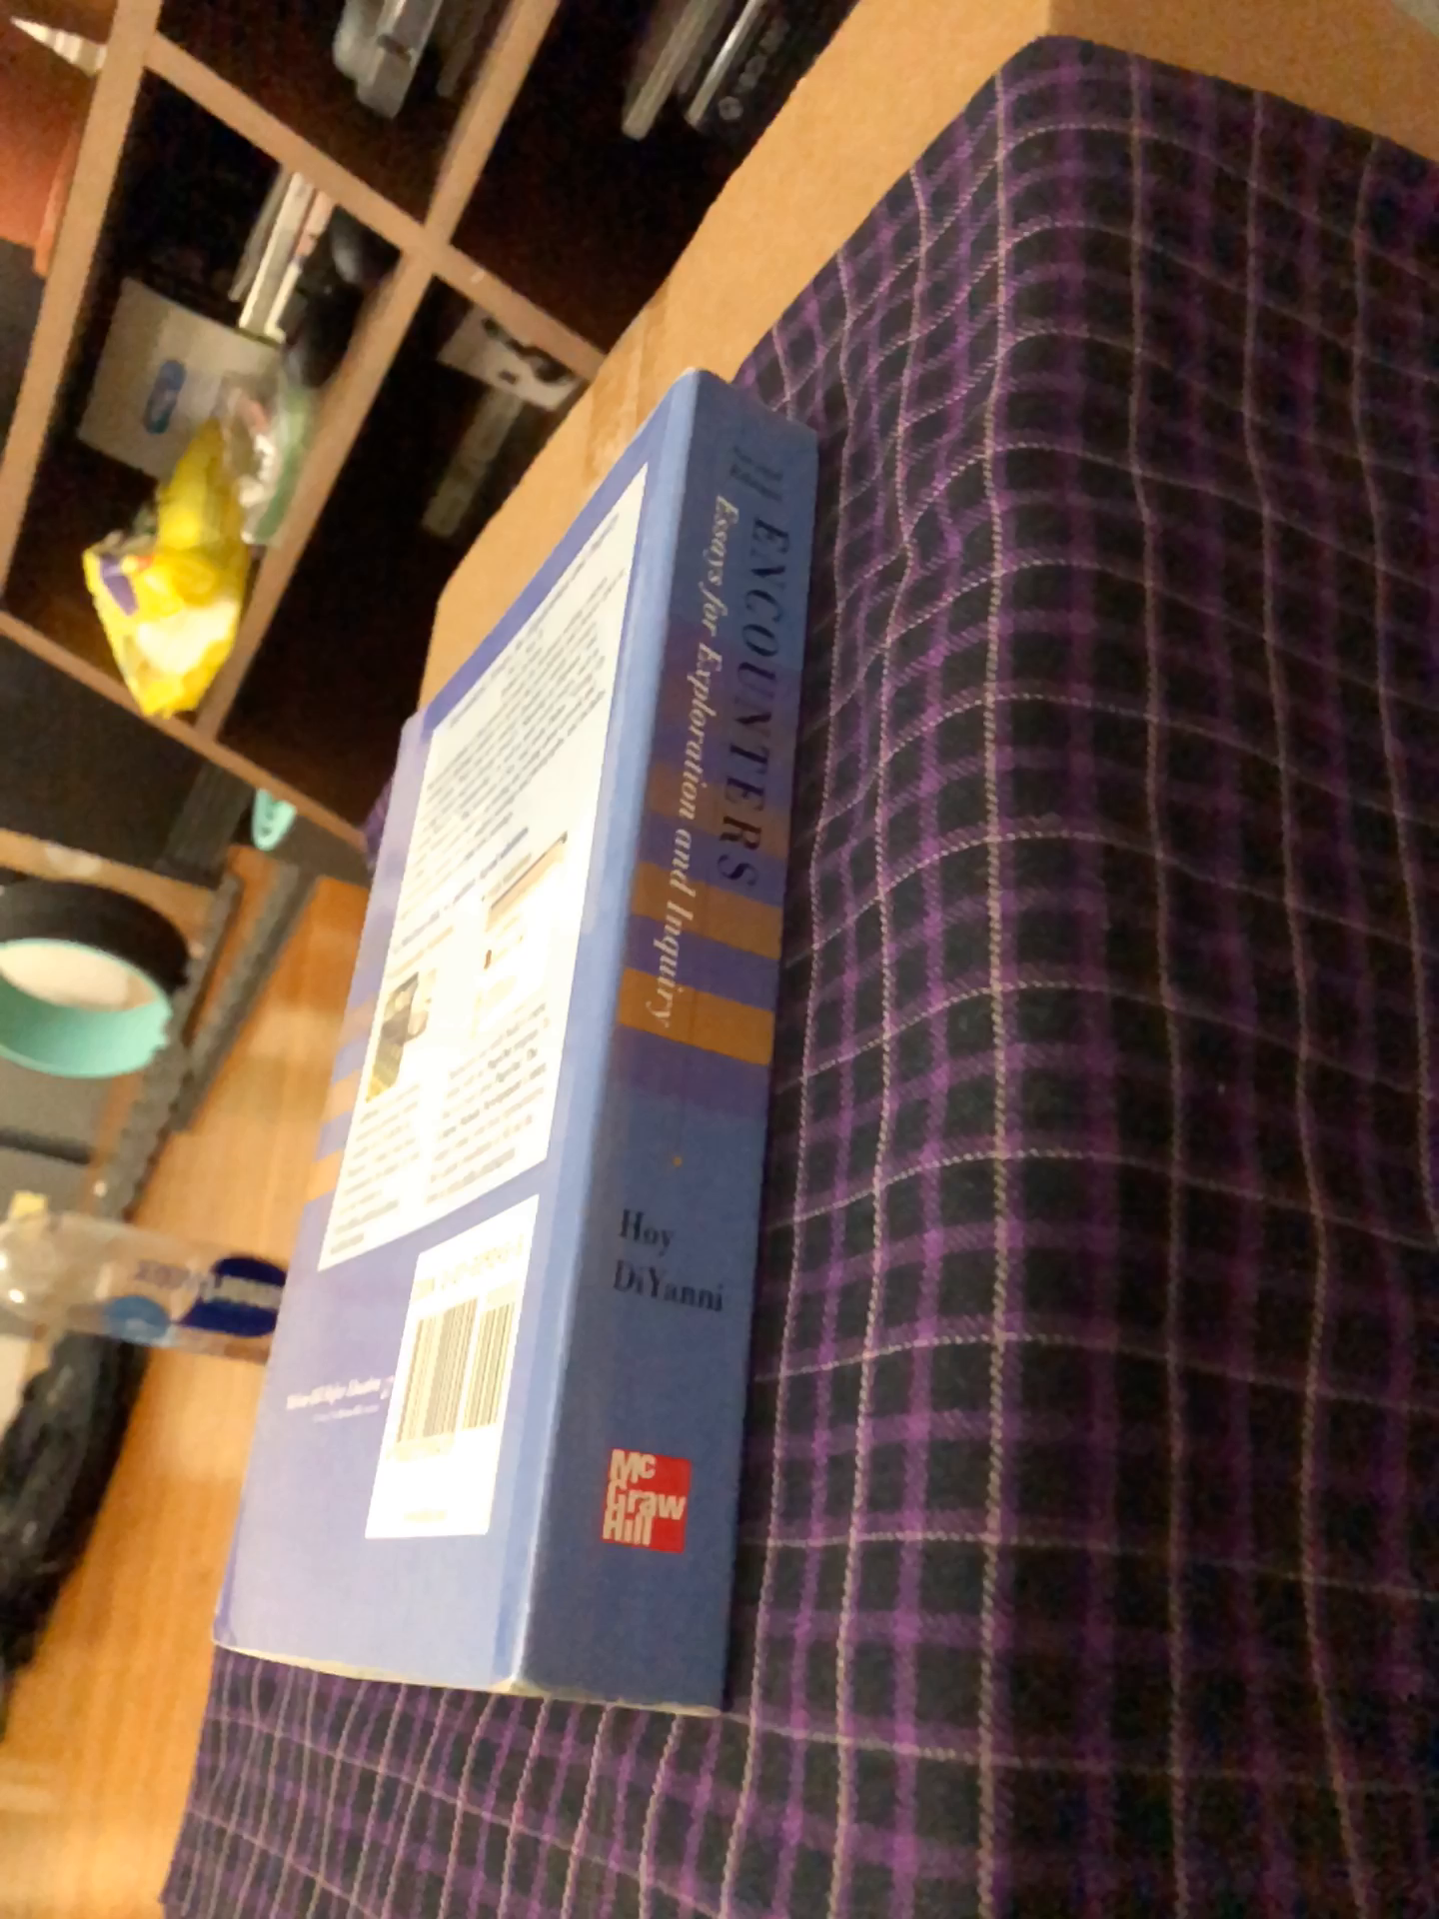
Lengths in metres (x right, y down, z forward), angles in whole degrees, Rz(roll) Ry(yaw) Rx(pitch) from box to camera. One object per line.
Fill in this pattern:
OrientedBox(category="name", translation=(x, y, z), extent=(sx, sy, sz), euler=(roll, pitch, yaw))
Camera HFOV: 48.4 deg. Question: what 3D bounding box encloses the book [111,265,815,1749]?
OrientedBox(category="book", translation=(-0.055, 0.017, 0.321), extent=(0.181, 0.040, 0.240), euler=(-34, 43, 54))
